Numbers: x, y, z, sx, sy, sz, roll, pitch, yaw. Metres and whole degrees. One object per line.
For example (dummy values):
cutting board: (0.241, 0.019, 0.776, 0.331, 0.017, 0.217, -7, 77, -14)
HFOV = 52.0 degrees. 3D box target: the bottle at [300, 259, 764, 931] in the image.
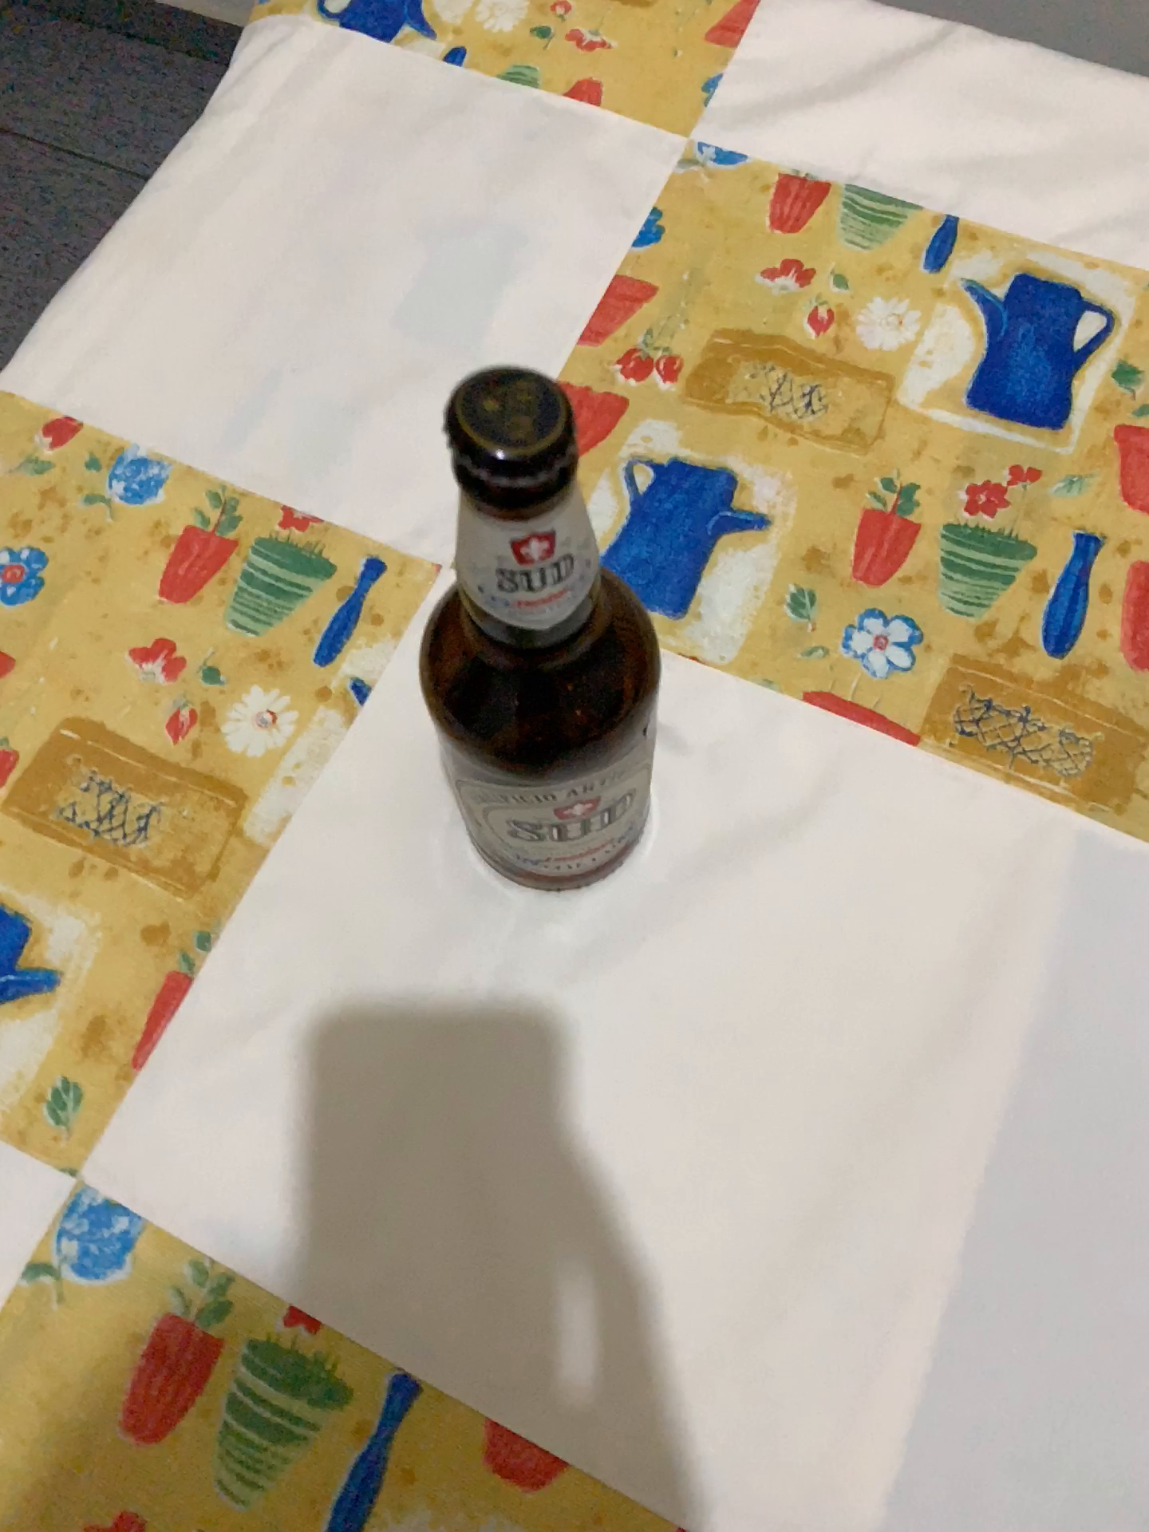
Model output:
bottle: (-0.008, -0.025, 0.358, 0.080, 0.240, 0.070, -18, 68, -6)
